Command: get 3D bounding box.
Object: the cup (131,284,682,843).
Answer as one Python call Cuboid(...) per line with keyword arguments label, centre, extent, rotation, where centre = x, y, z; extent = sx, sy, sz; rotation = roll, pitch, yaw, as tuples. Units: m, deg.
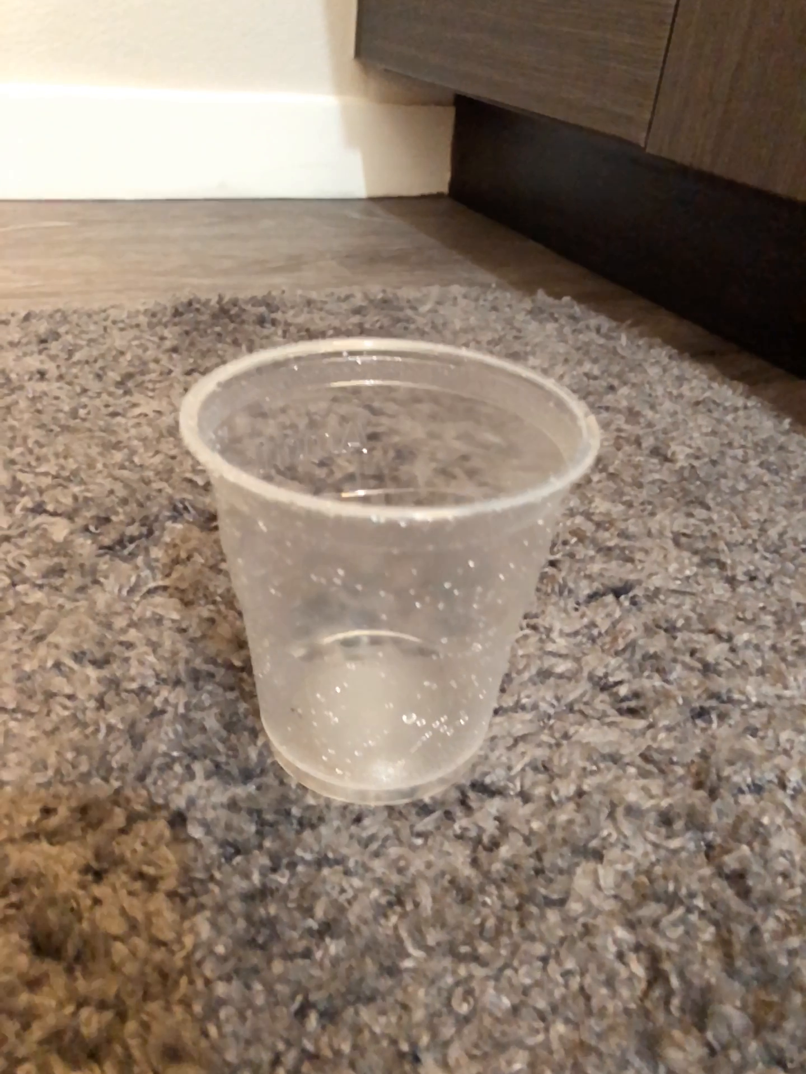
Cuboid(label="cup", centre=(-0.006, 0.003, 0.207), extent=(0.090, 0.090, 0.090), rotation=(5, 31, -3))
